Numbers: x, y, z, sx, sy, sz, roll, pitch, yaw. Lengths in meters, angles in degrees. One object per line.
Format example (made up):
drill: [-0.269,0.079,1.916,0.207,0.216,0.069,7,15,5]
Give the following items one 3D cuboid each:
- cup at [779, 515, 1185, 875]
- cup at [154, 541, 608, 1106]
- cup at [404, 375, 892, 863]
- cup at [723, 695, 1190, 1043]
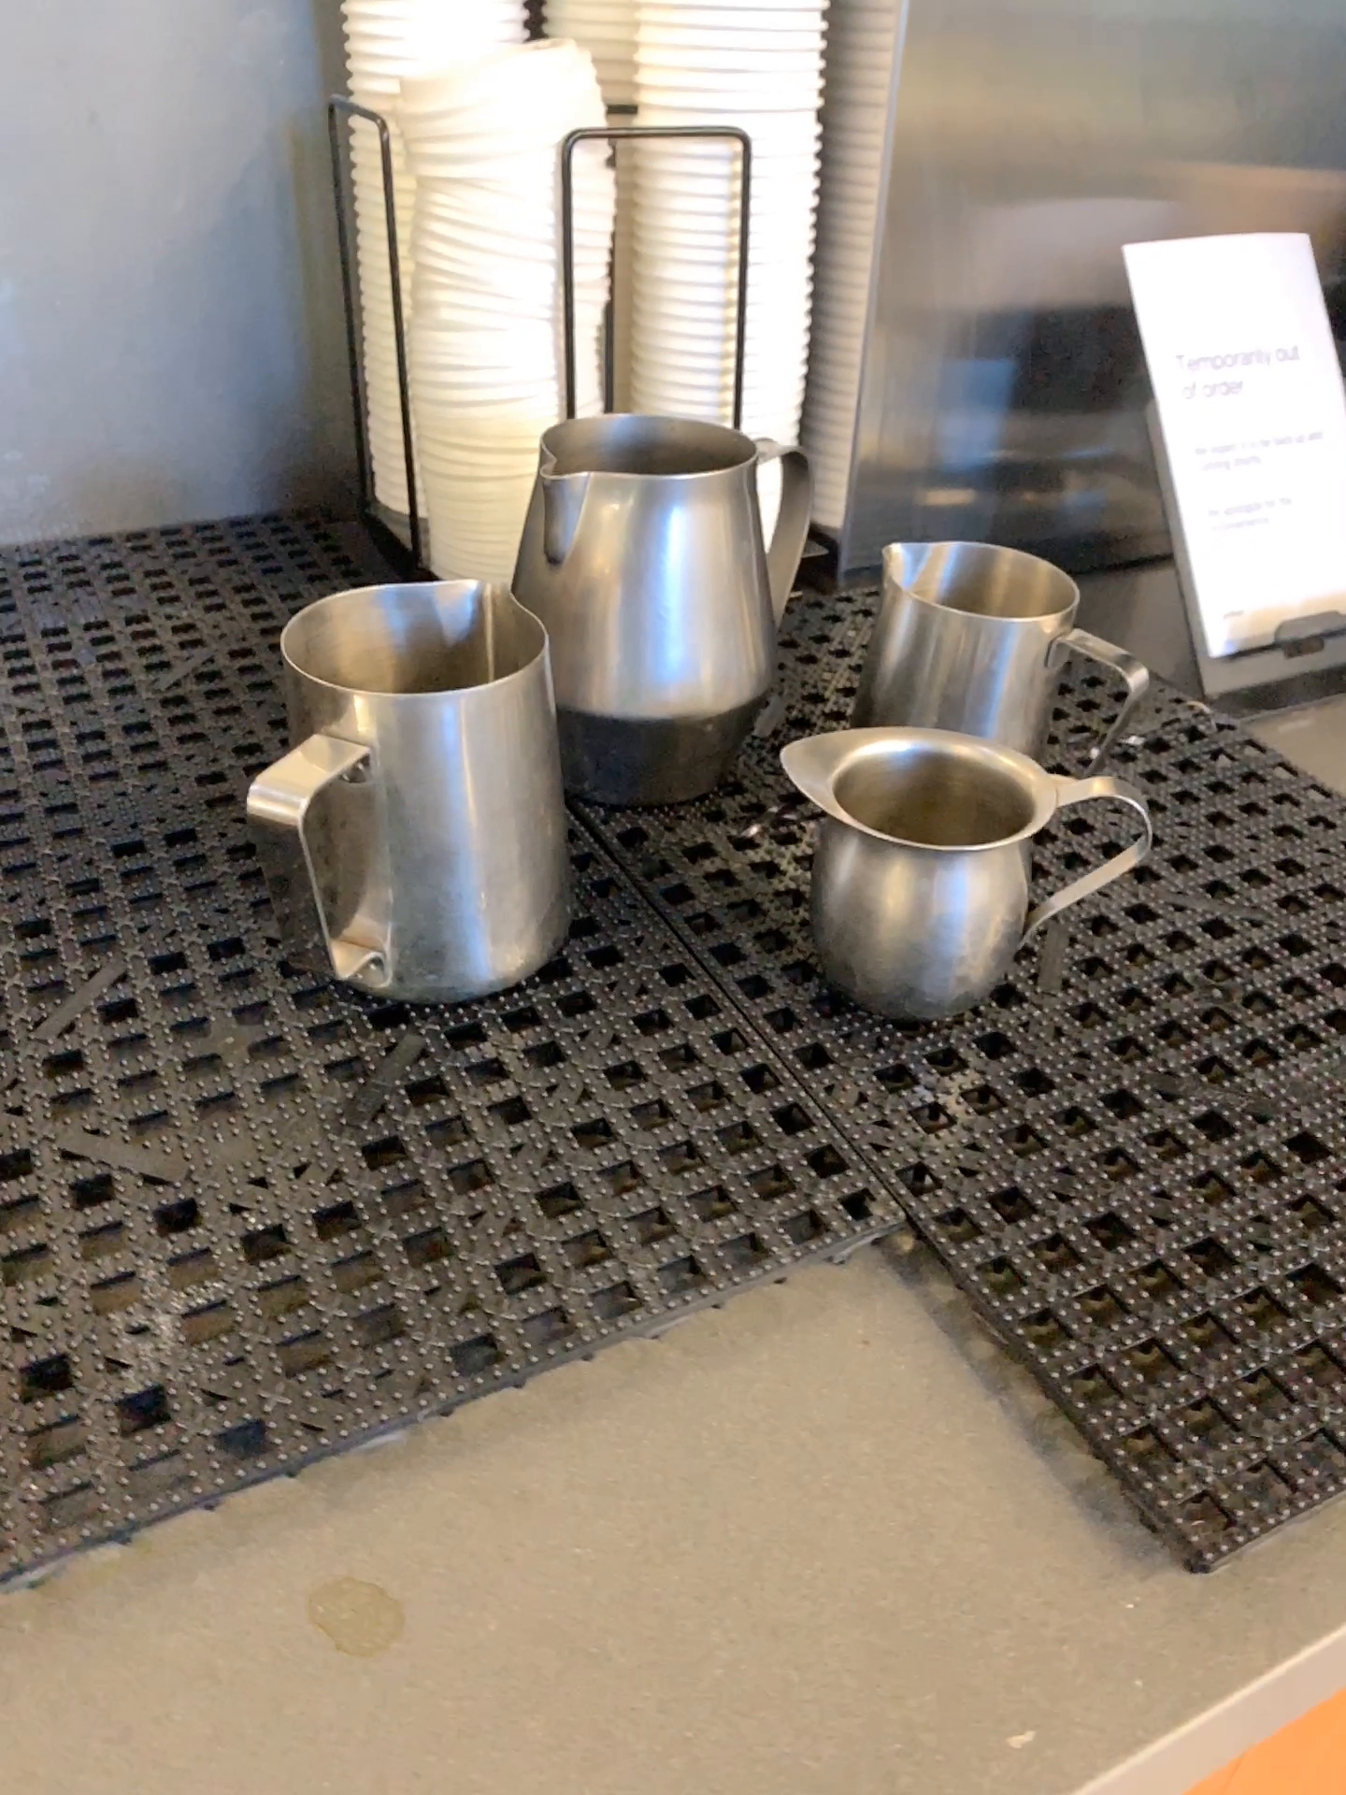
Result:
cup: [0.111,-0.079,0.513,0.110,0.080,0.080,27,41,30]
cup: [-0.075,-0.027,0.410,0.080,0.109,0.121,10,35,10]
cup: [-0.009,-0.116,0.544,0.150,0.129,0.100,-27,44,-35]
cup: [0.080,-0.011,0.421,0.120,0.060,0.080,6,35,4]
